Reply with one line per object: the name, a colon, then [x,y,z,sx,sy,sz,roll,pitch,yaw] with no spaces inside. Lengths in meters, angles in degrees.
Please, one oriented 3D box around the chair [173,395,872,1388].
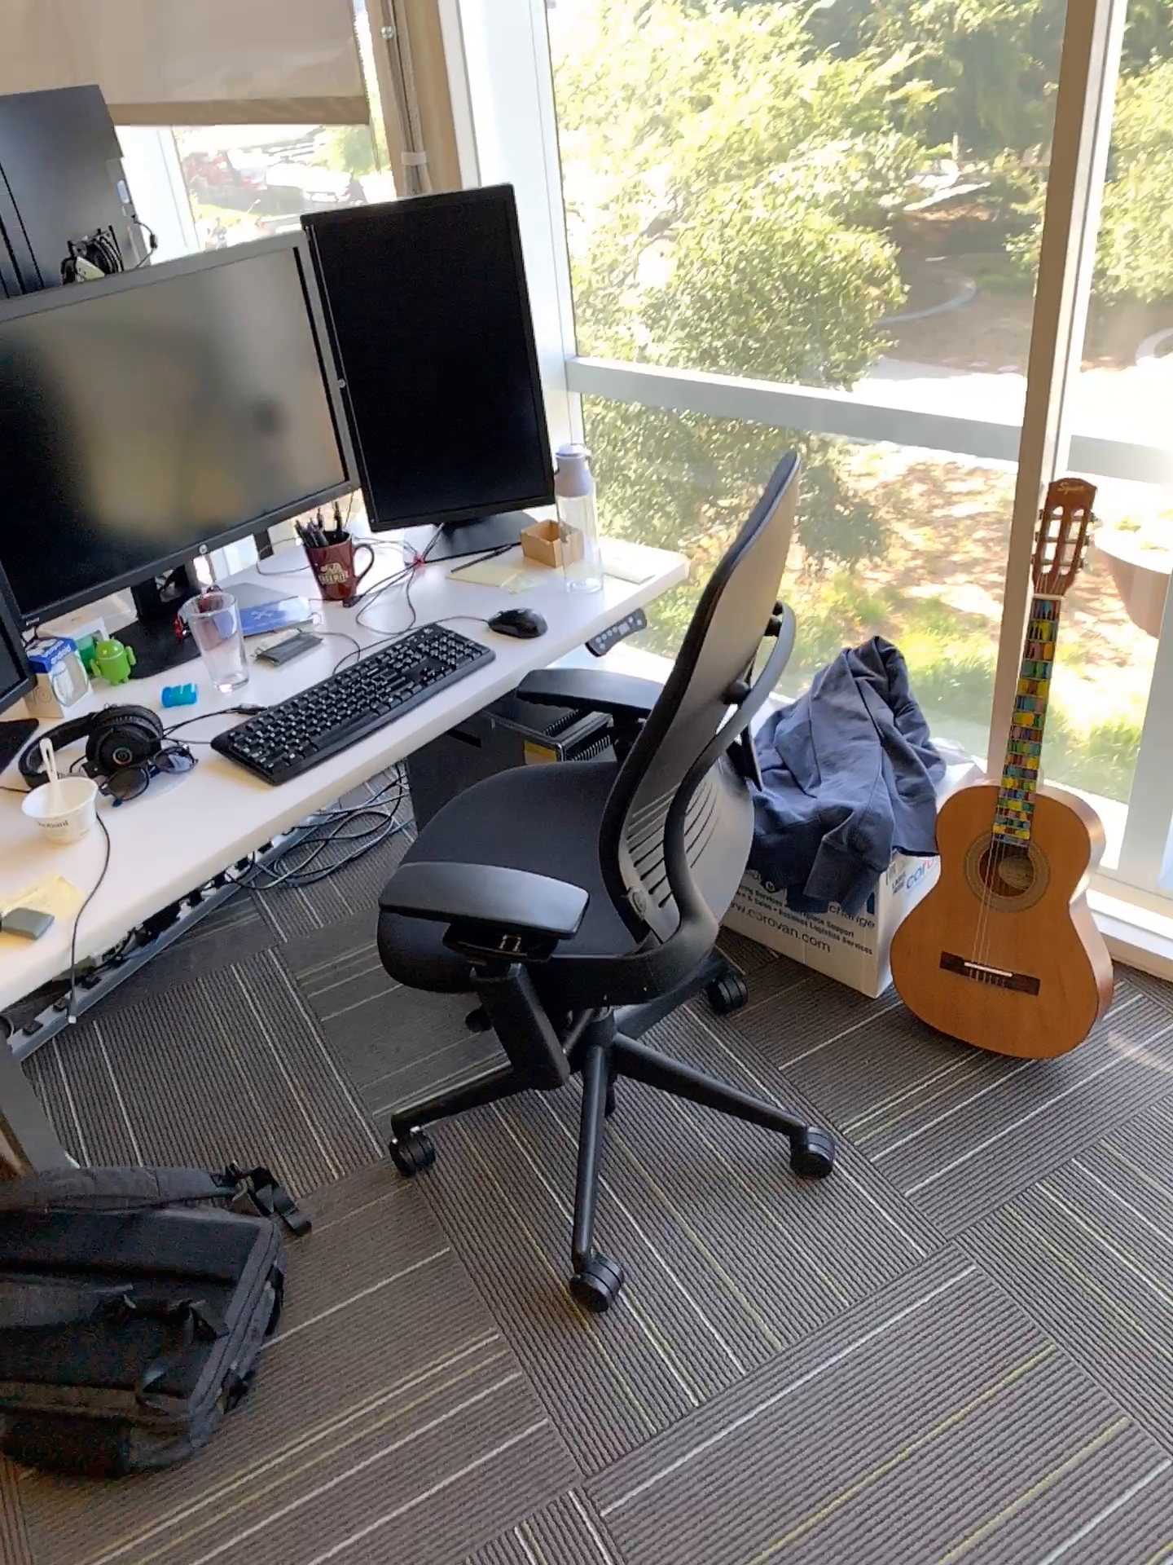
chair: [0.038,0.157,1.778,0.691,1.223,0.713,3,34,13]
